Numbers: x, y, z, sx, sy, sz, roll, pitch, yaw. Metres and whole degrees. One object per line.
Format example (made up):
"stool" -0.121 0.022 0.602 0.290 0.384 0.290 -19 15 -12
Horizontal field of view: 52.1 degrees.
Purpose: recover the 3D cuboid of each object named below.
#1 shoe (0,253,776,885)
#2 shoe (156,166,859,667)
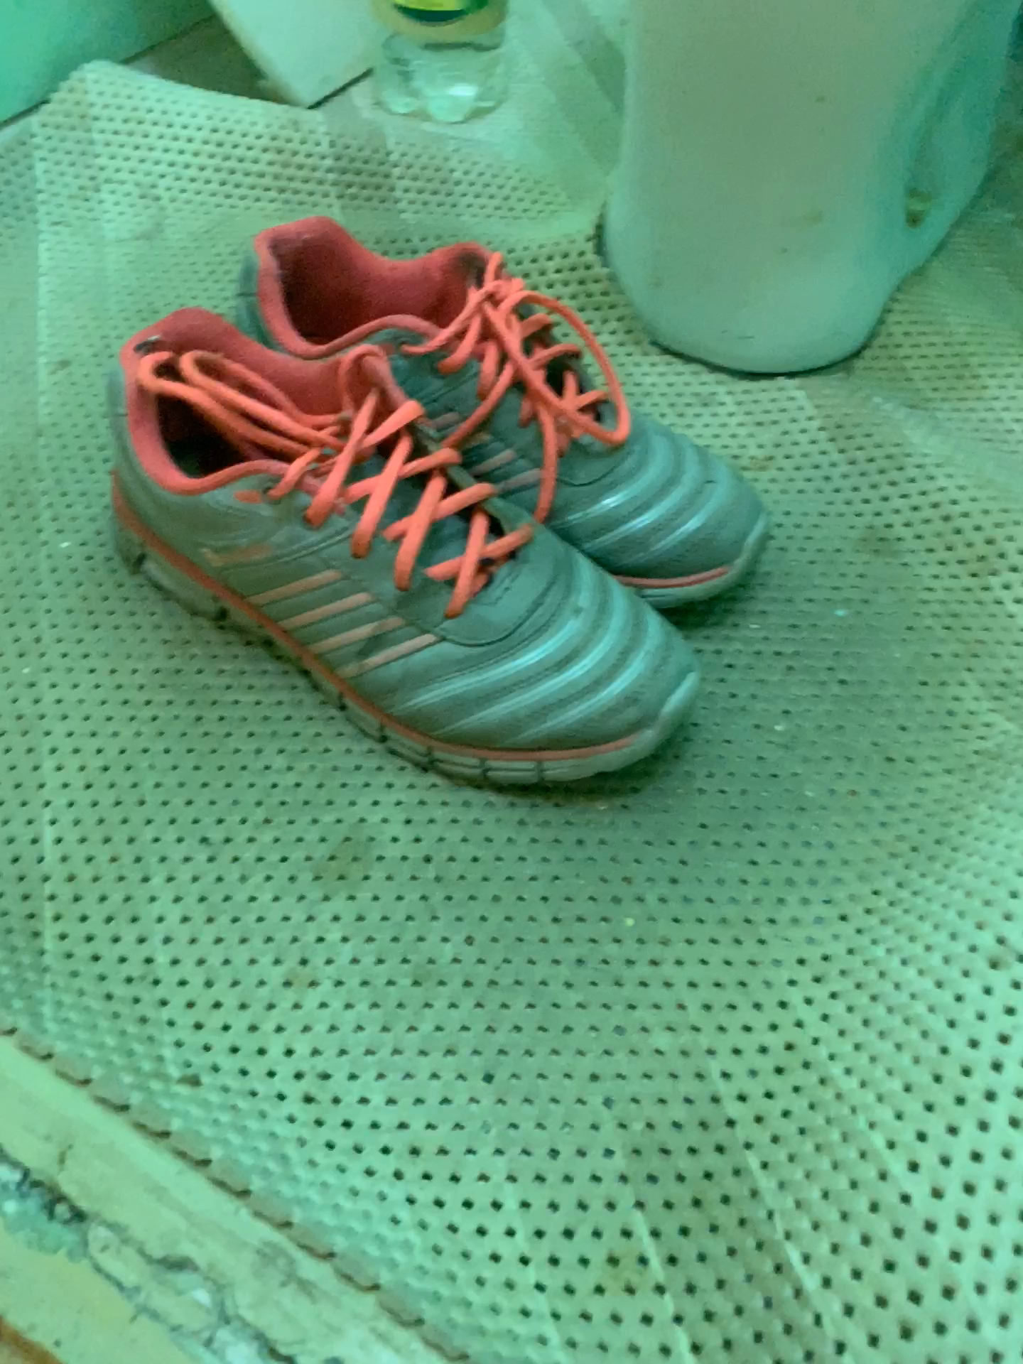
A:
"shoe" -0.054 -0.053 0.403 0.268 0.089 0.111 29 57 17
"shoe" -0.005 -0.125 0.468 0.270 0.089 0.111 24 55 14
